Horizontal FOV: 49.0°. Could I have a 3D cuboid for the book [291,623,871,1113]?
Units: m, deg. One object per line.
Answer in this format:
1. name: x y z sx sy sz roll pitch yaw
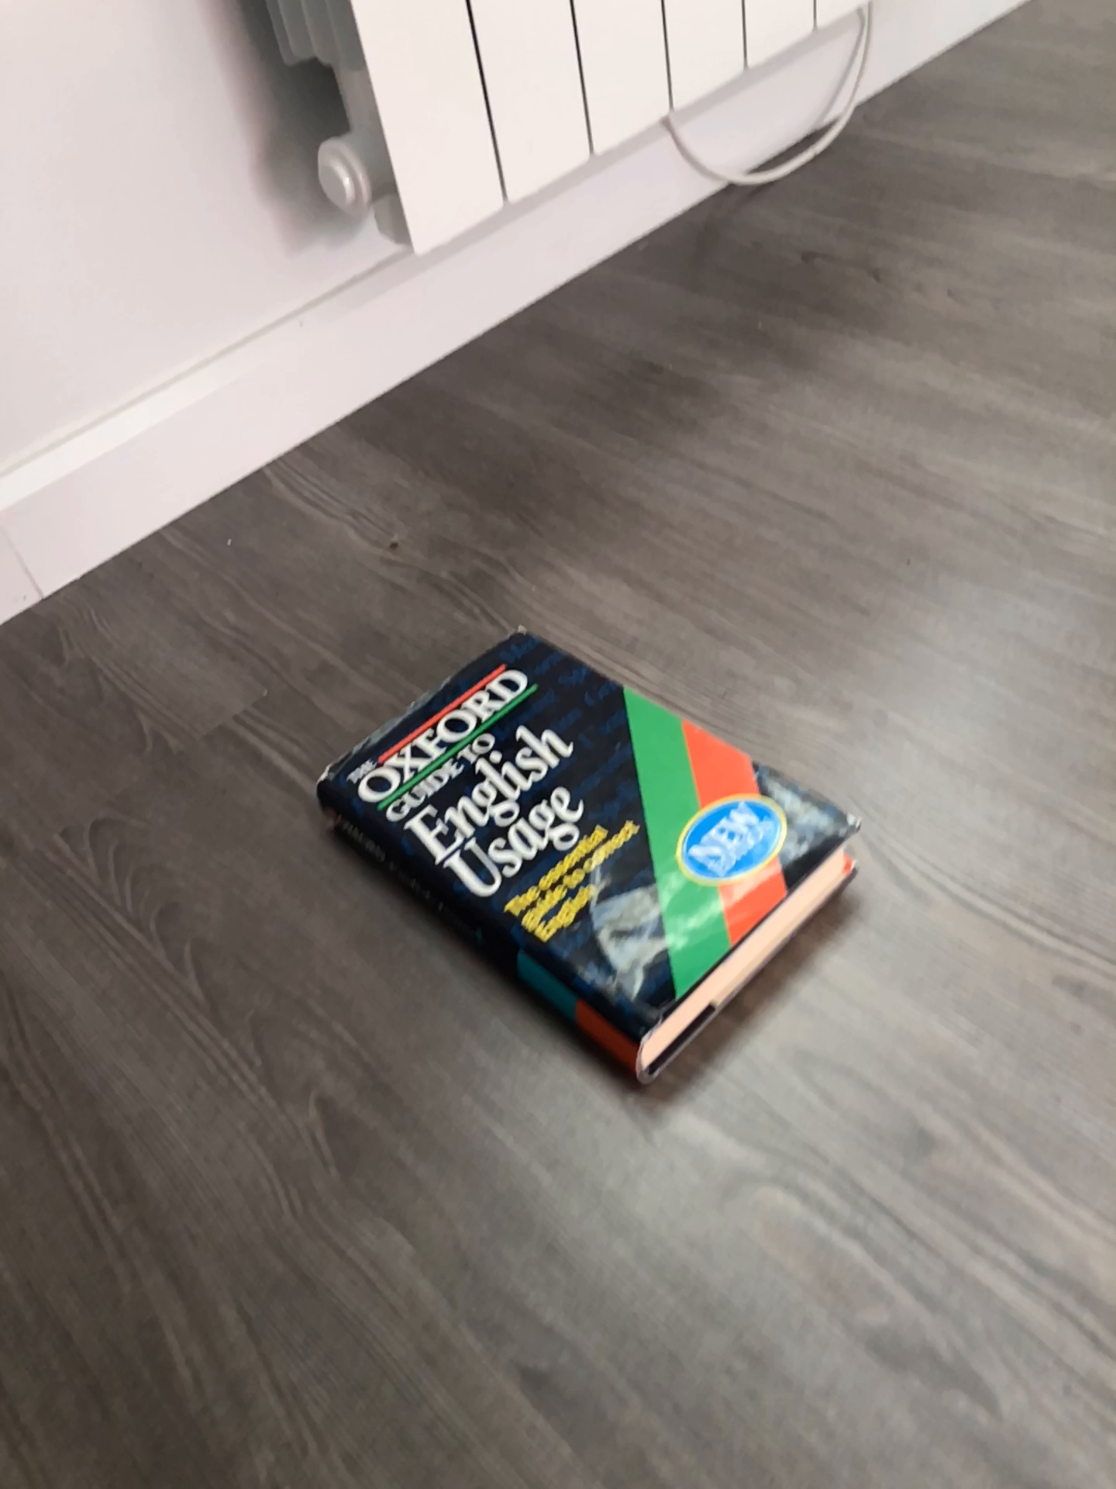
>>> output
1. book: 0.005 0.041 0.572 0.151 0.035 0.230 -39 50 -24
